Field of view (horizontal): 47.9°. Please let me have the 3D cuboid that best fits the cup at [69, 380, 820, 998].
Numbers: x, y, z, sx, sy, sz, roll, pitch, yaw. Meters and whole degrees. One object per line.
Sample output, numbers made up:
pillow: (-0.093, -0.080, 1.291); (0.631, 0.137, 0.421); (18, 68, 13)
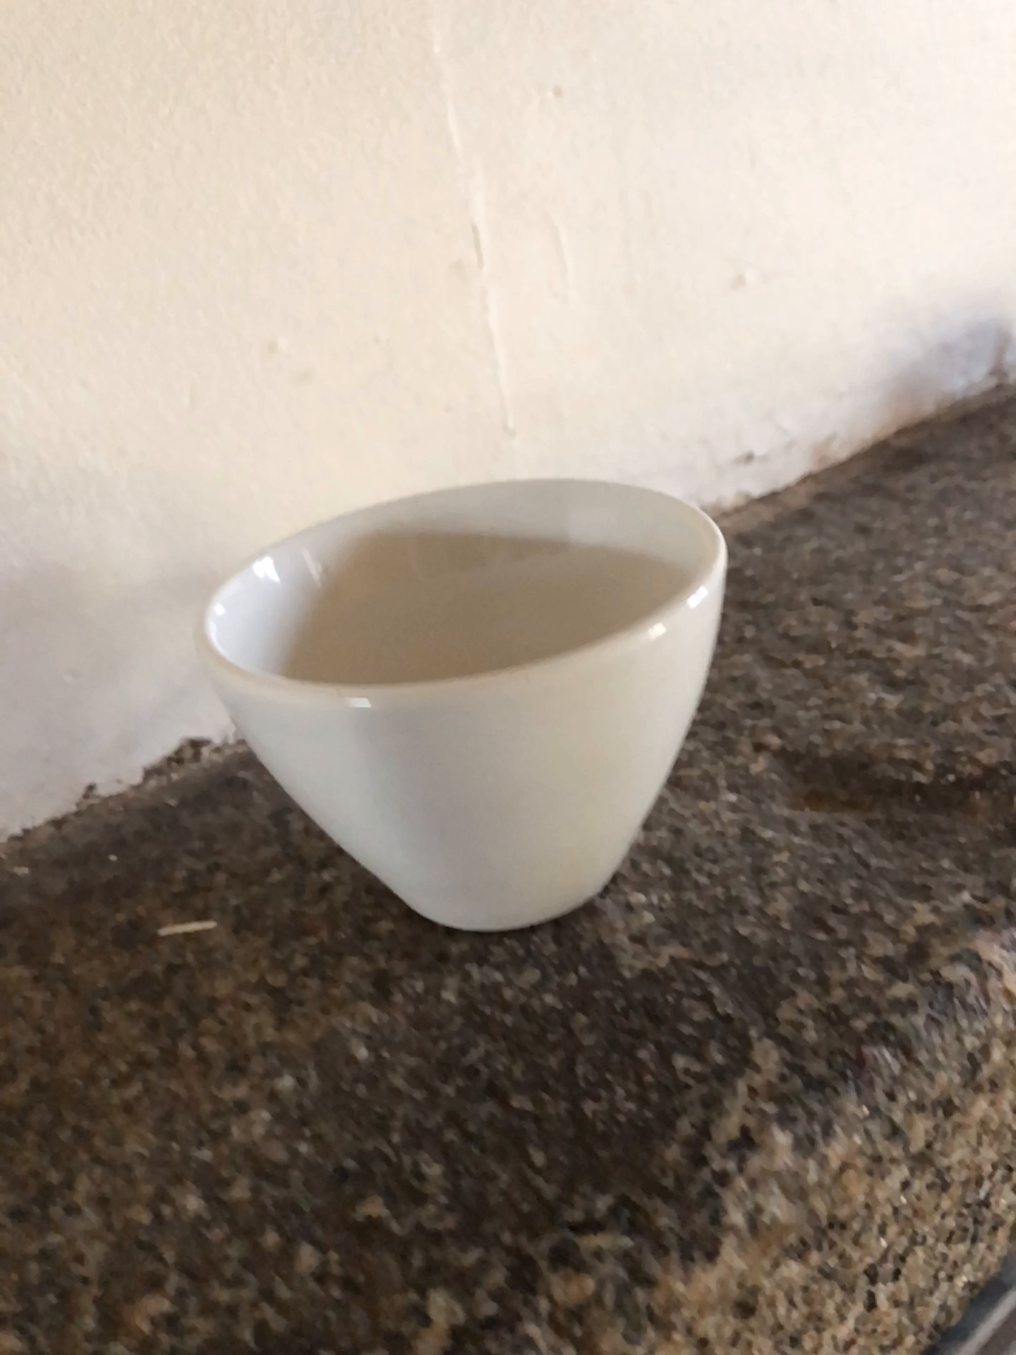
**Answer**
cup: (0.001, -0.009, 0.189); (0.080, 0.050, 0.101); (5, 31, 25)
